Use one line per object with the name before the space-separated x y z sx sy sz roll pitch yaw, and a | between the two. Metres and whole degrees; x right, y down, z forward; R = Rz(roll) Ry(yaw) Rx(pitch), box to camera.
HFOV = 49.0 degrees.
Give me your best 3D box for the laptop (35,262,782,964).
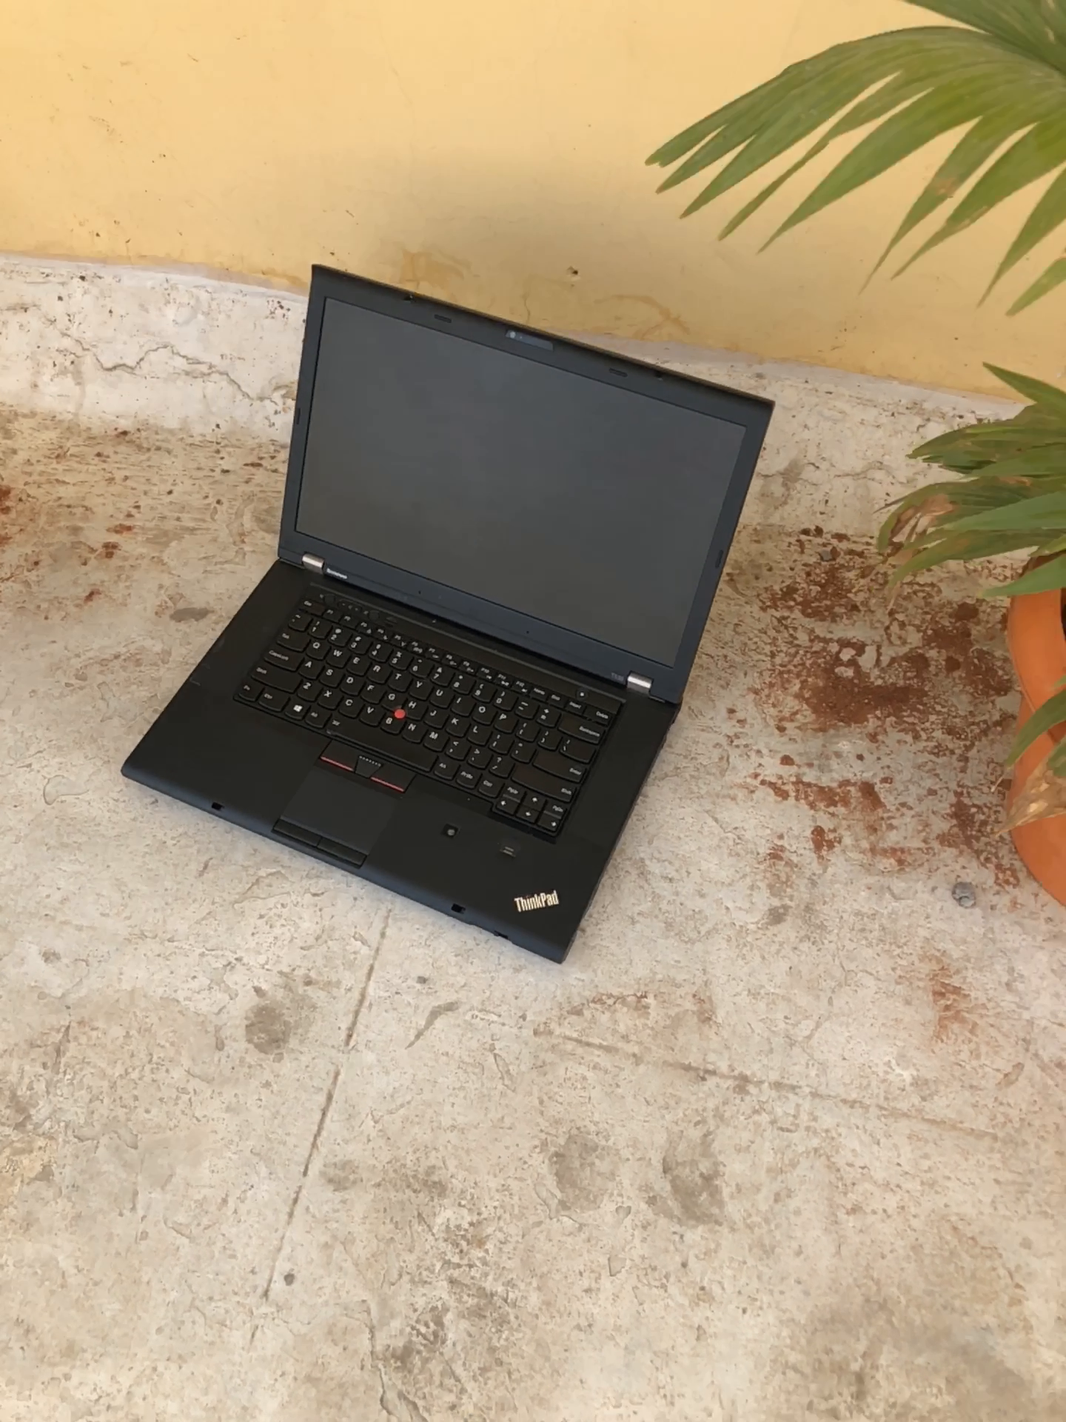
laptop | -0.067 -0.084 0.847 0.360 0.208 0.353 21 59 14
